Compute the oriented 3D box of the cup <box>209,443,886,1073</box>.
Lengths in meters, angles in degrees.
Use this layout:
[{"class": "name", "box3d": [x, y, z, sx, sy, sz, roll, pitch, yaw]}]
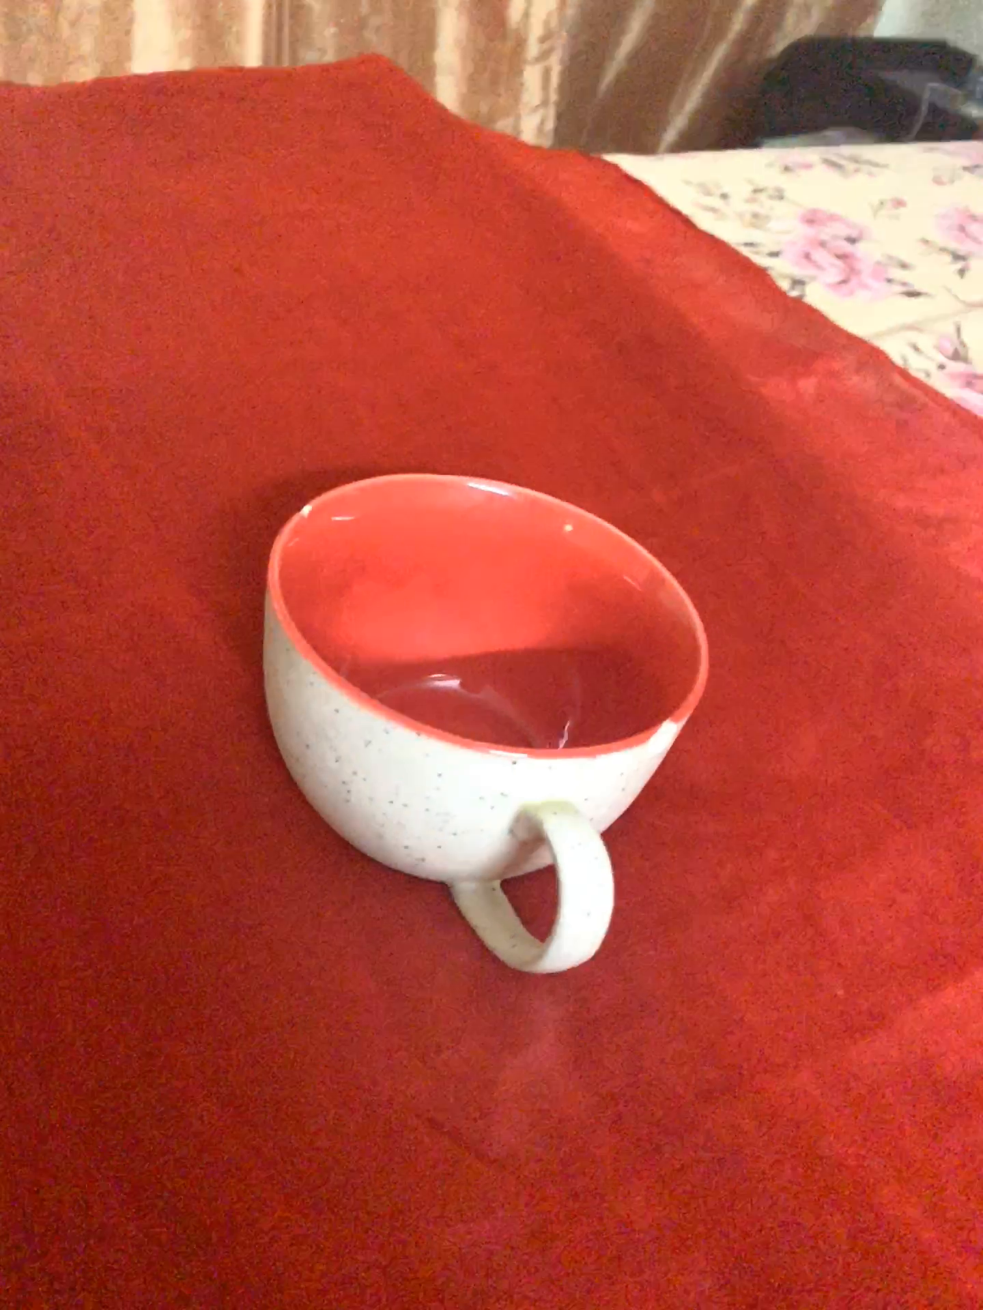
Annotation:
[{"class": "cup", "box3d": [-0.001, 0.015, 0.269, 0.130, 0.069, 0.141, 9, 42, -8]}]
